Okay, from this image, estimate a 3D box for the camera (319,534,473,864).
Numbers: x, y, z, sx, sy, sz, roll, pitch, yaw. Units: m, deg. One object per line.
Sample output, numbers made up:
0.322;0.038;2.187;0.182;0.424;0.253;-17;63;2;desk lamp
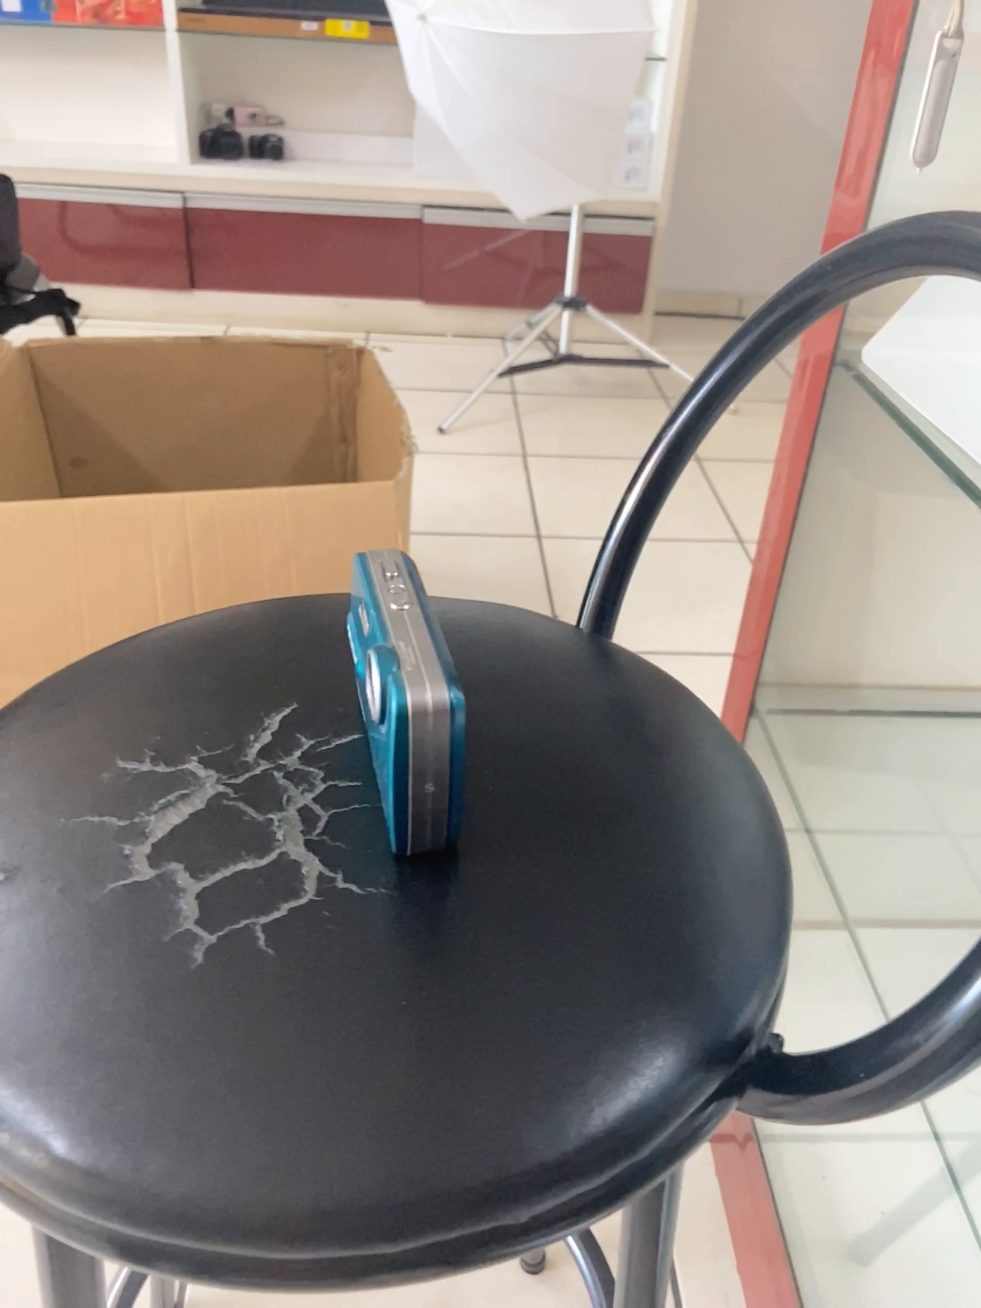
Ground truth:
-0.032;0.009;0.311;0.030;0.050;0.101;-5;34;-13;camera
